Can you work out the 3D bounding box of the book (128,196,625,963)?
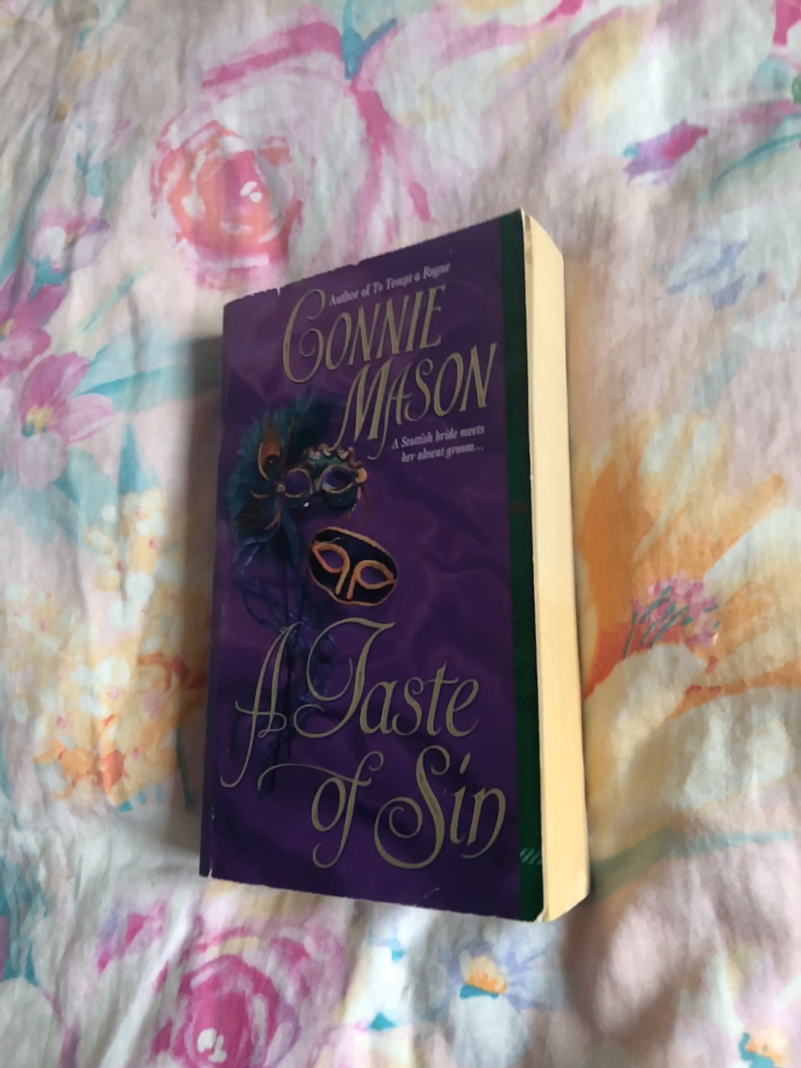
[{"bbox_3d":[-0.007,0.011,0.245,0.120,0.040,0.180,-6,74,24],"label":"book"}]
